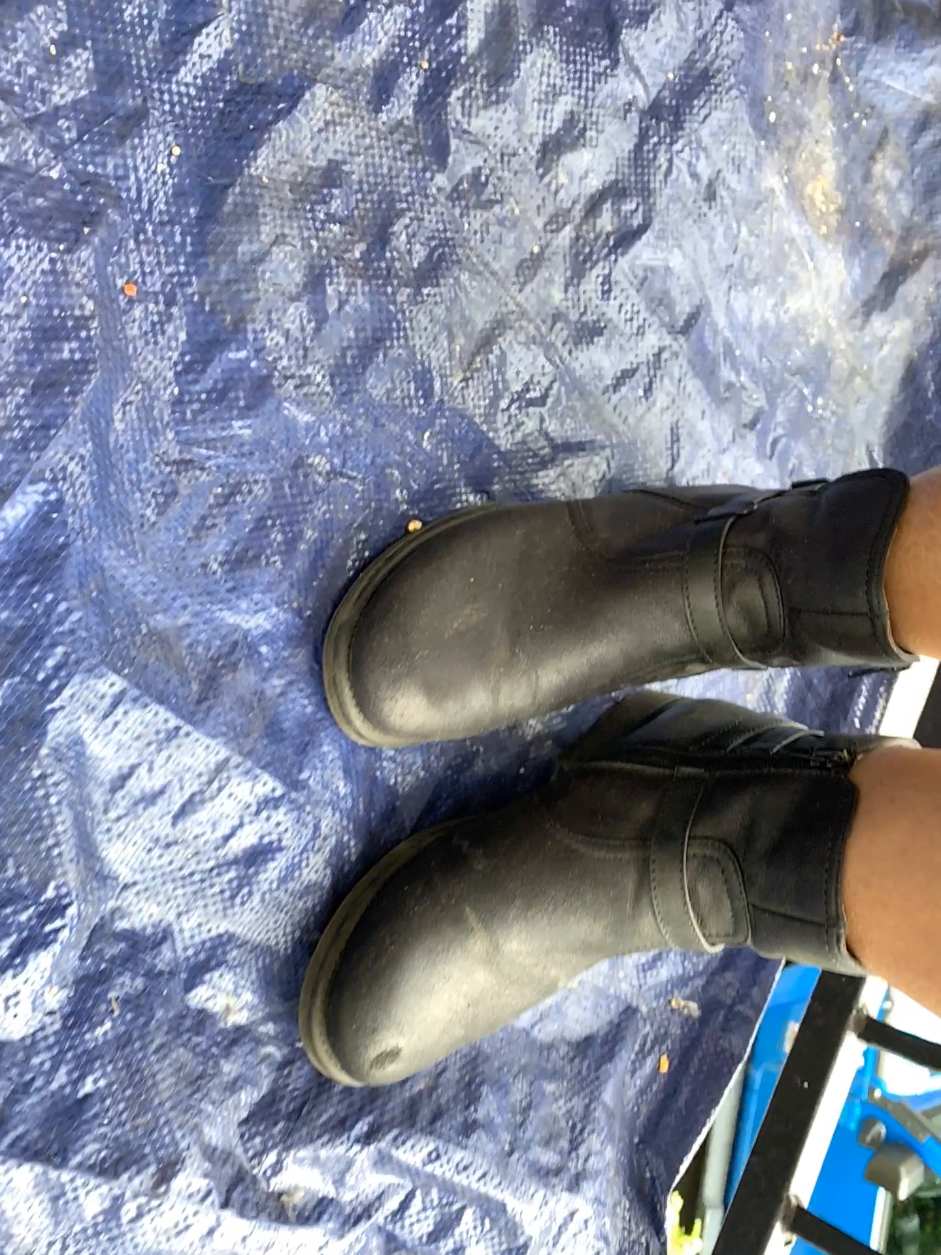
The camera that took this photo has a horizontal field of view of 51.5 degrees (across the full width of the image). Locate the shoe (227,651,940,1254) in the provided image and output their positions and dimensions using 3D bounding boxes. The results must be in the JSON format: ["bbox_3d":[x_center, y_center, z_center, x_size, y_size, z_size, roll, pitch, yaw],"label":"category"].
[{"bbox_3d":[0.065,0.103,0.396,0.281,0.109,0.110,-17,104,-36],"label":"shoe"}]

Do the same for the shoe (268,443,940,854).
[{"bbox_3d":[0.076,-0.012,0.424,0.281,0.129,0.100,-14,102,-37],"label":"shoe"}]
